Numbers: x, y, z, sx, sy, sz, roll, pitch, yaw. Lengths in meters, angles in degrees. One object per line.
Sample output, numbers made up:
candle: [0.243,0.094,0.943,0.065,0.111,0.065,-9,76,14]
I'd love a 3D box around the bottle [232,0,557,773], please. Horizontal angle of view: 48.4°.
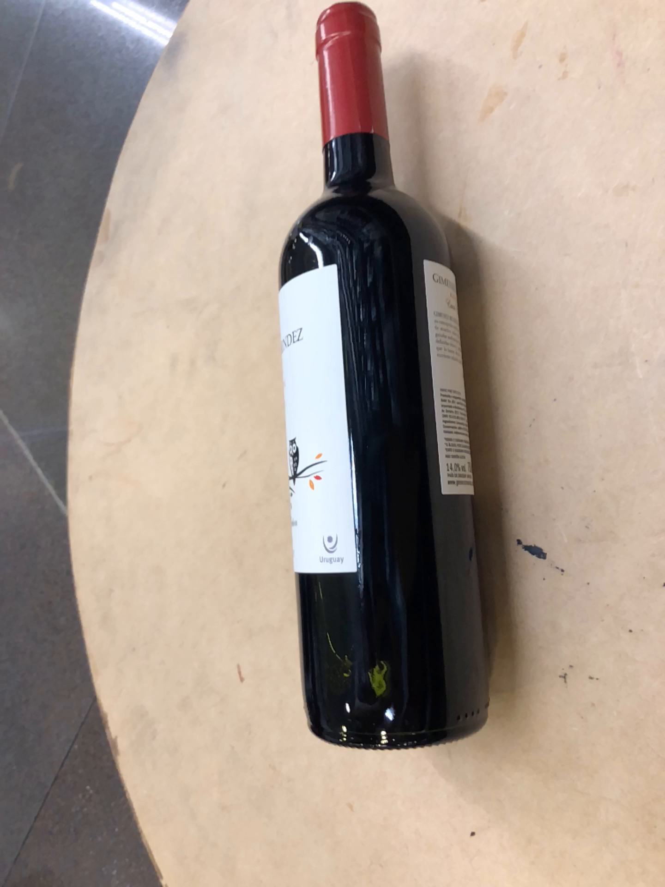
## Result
bottle: [0.019,-0.049,0.288,0.080,0.060,0.310,-10,81,40]
